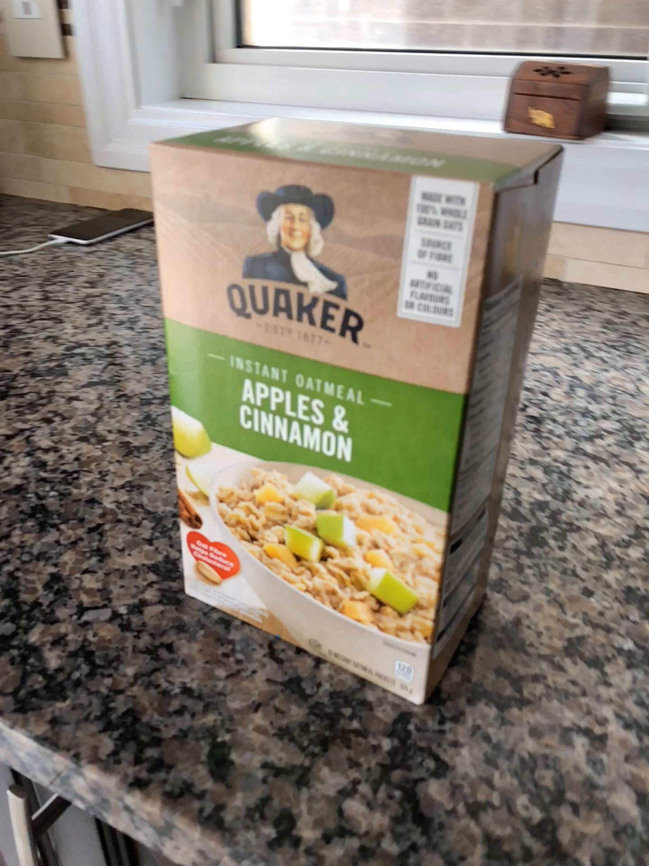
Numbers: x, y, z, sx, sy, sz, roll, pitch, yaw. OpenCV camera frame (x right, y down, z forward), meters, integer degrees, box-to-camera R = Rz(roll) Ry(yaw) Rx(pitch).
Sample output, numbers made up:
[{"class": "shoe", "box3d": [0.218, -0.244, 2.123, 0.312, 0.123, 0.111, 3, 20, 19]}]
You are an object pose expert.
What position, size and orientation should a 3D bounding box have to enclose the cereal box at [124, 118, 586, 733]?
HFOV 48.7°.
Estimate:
[{"class": "cereal box", "box3d": [0.011, -0.007, 0.297, 0.130, 0.209, 0.090, 17, 34, 26]}]
